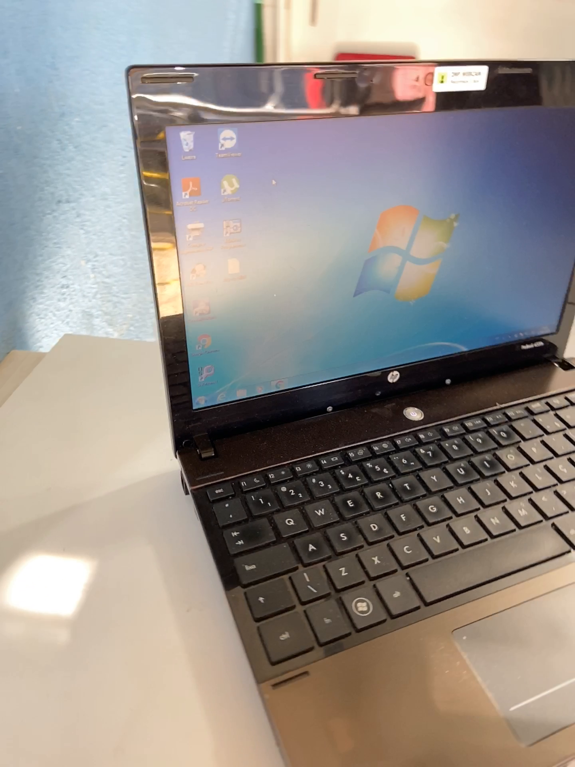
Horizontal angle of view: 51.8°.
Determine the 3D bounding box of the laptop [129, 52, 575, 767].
[{"bbox_3d":[0.119,-0.022,0.293,0.322,0.207,0.260,-12,38,-18],"label":"laptop"}]
